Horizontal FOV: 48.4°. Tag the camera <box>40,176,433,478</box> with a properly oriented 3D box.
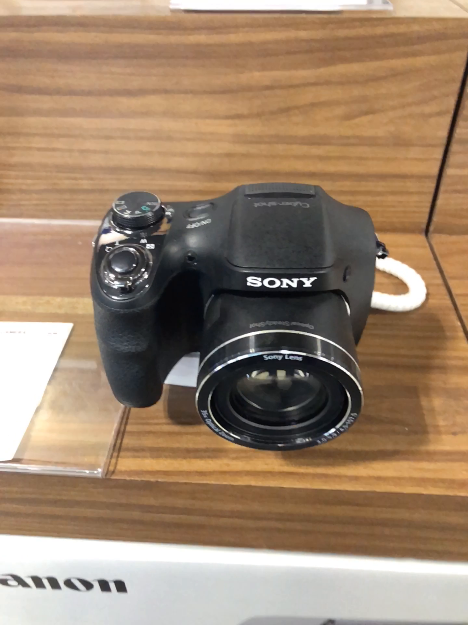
[{"bbox_3d":[0.001,0.003,0.223,0.120,0.092,0.091,0,37,1],"label":"camera"}]
